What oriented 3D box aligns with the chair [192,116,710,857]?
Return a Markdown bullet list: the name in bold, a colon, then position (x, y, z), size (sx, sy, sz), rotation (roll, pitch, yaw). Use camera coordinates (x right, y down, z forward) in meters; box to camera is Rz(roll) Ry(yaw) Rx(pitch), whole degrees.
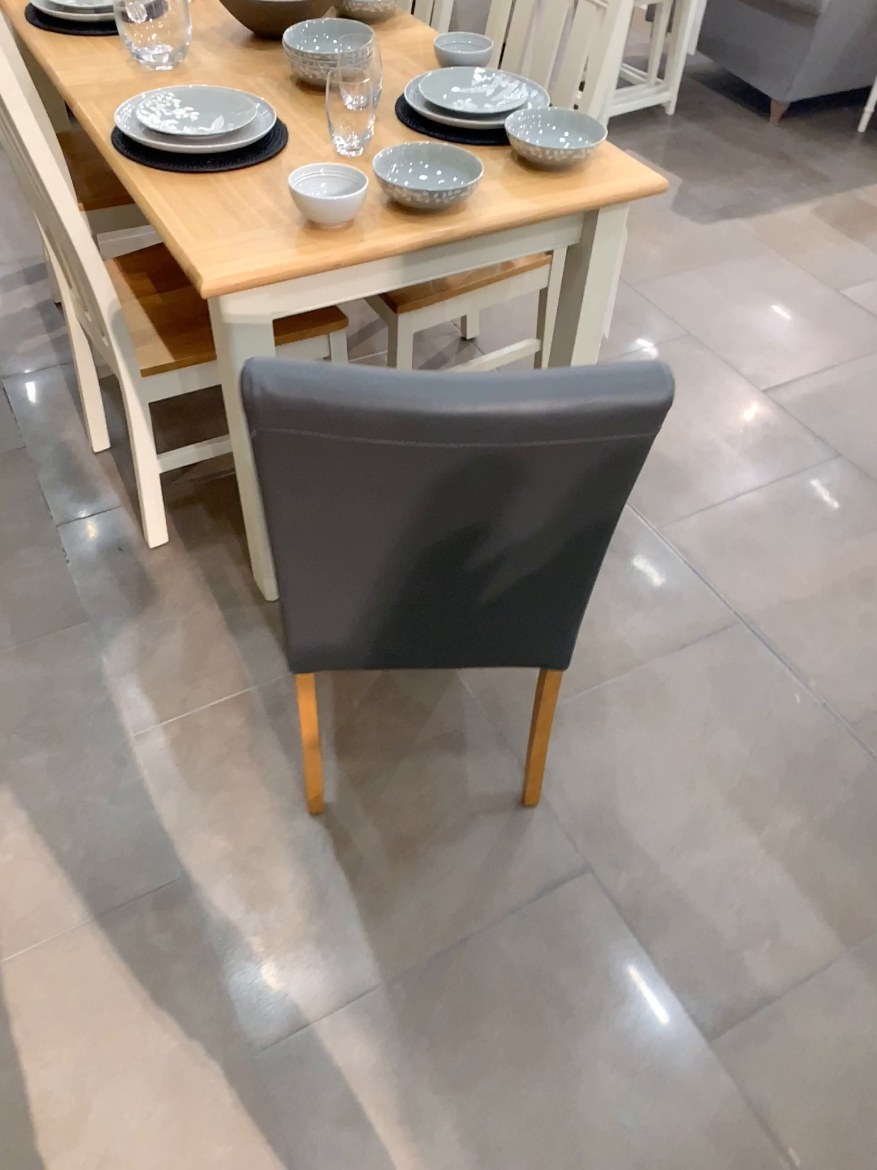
- **chair**: position (-0.027, -0.106, 1.369), size (0.475, 0.907, 0.655), rotation (-1, 48, -5)
